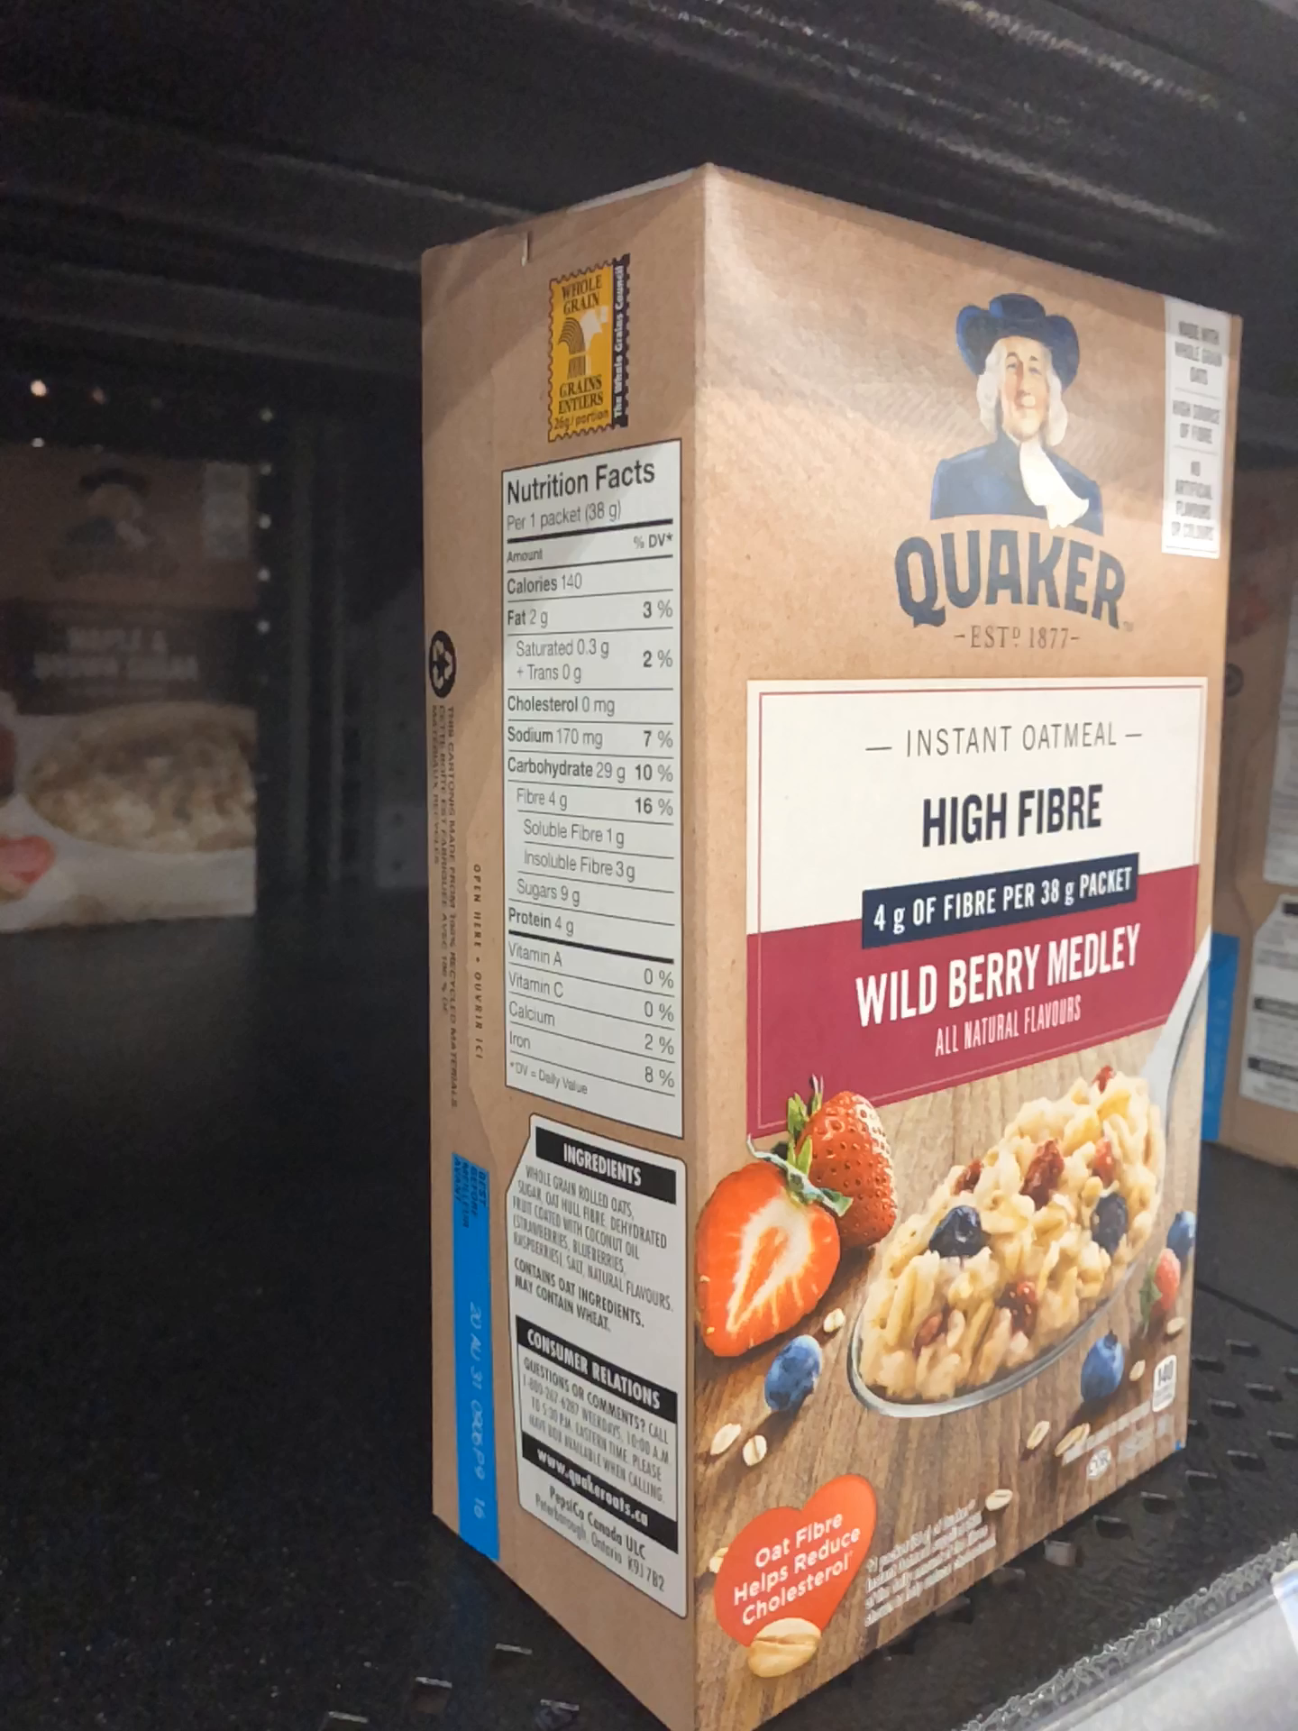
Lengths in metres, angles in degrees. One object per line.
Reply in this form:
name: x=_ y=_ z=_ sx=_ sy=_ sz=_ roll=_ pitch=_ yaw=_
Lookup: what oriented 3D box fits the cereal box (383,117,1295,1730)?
cereal box: x=0.033 y=0.012 z=0.235 sx=0.130 sy=0.200 sz=0.070 roll=-5 pitch=9 yaw=-41
